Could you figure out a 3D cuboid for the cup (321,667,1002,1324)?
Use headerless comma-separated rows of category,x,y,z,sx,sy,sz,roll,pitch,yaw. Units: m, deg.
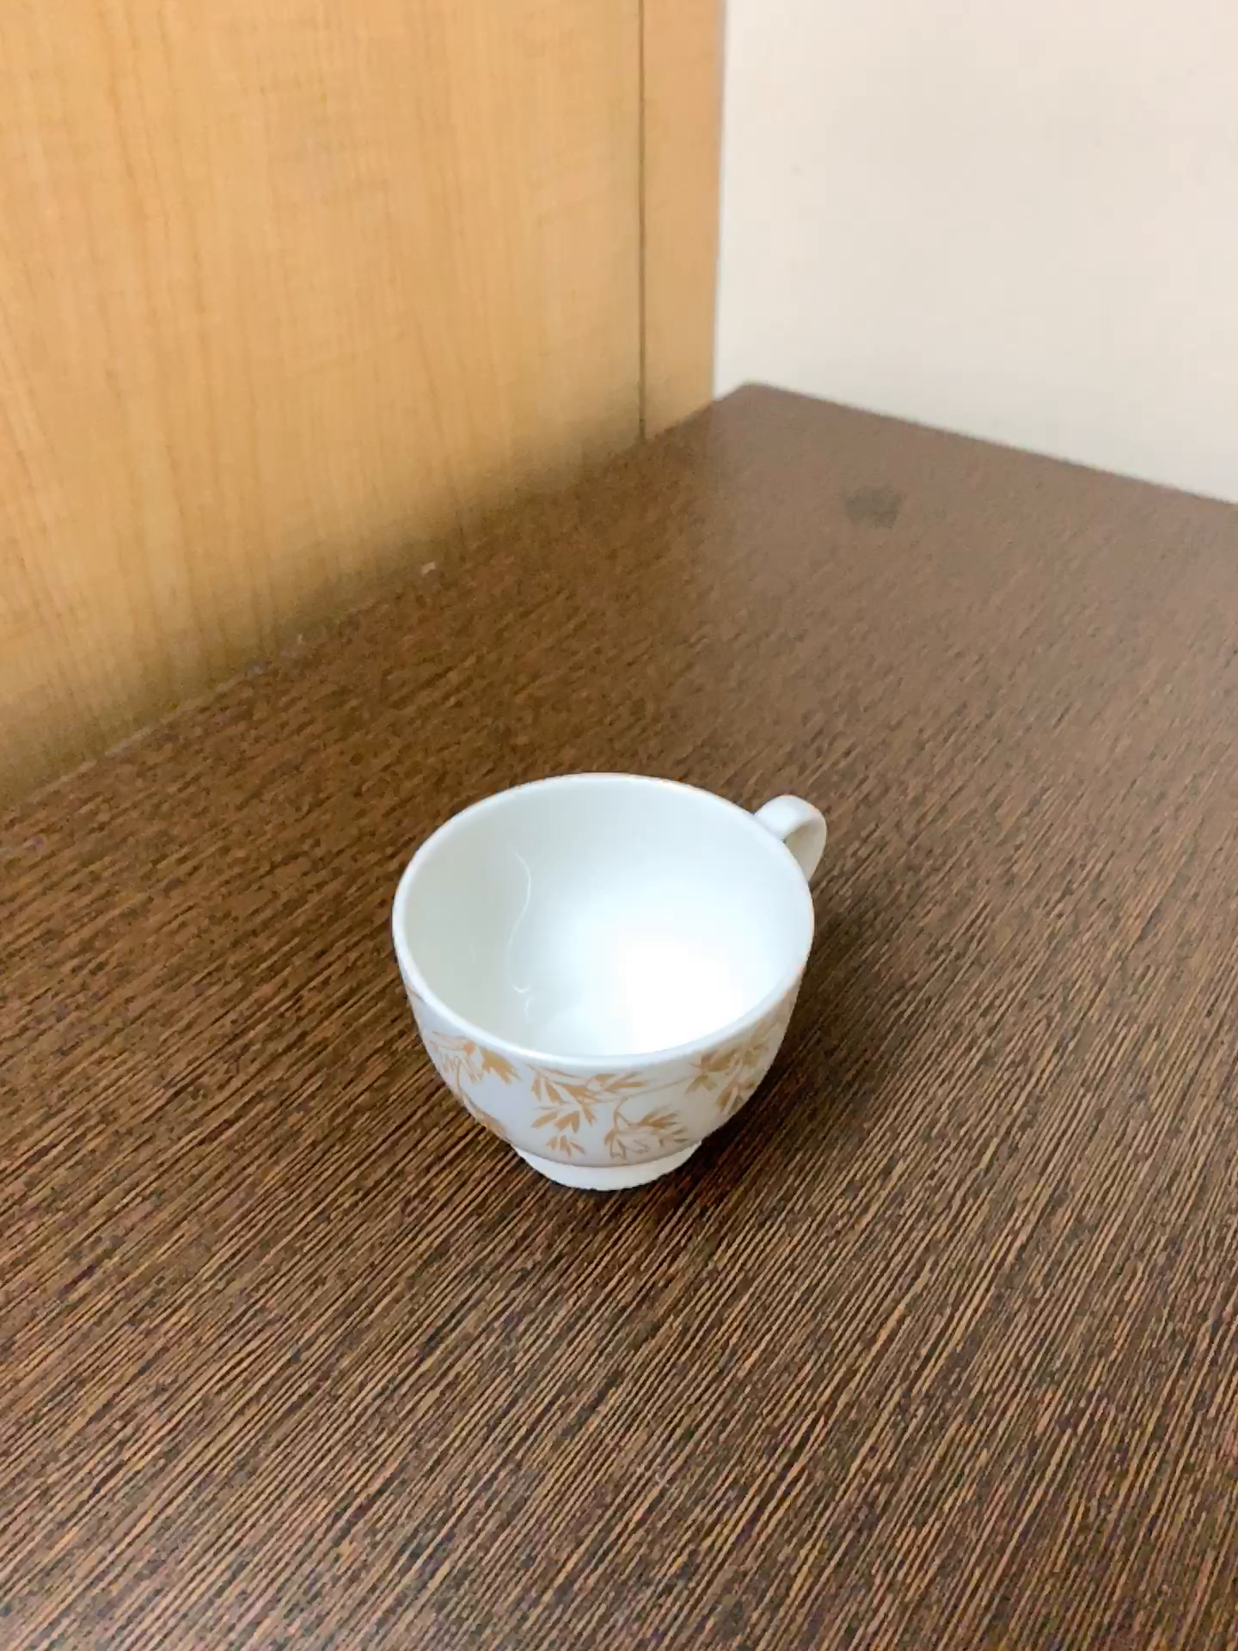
cup,0.010,0.025,0.253,0.080,0.050,0.100,28,47,31
